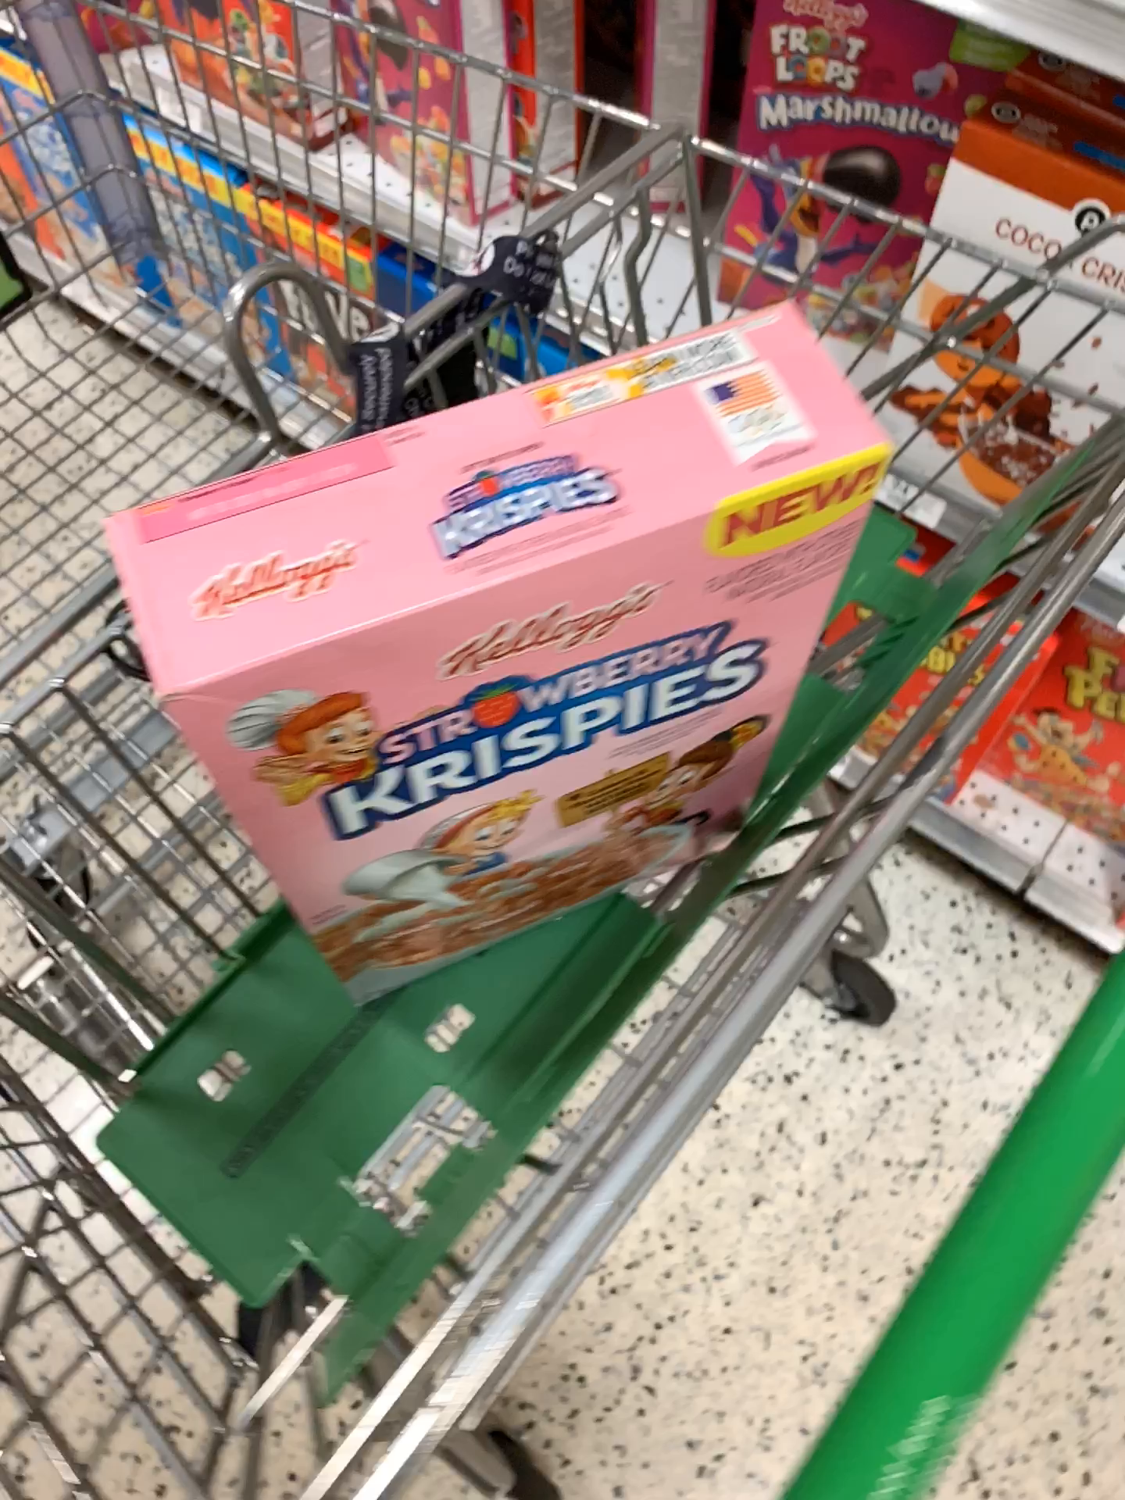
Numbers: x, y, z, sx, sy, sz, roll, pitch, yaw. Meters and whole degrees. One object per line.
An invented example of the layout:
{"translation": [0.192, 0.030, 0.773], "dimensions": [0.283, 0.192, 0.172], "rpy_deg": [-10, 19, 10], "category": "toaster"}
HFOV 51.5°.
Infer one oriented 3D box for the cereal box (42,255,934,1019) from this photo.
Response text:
{"translation": [-0.019, -0.008, 0.418], "dimensions": [0.210, 0.298, 0.060], "rpy_deg": [-21, 66, -12], "category": "cereal box"}
